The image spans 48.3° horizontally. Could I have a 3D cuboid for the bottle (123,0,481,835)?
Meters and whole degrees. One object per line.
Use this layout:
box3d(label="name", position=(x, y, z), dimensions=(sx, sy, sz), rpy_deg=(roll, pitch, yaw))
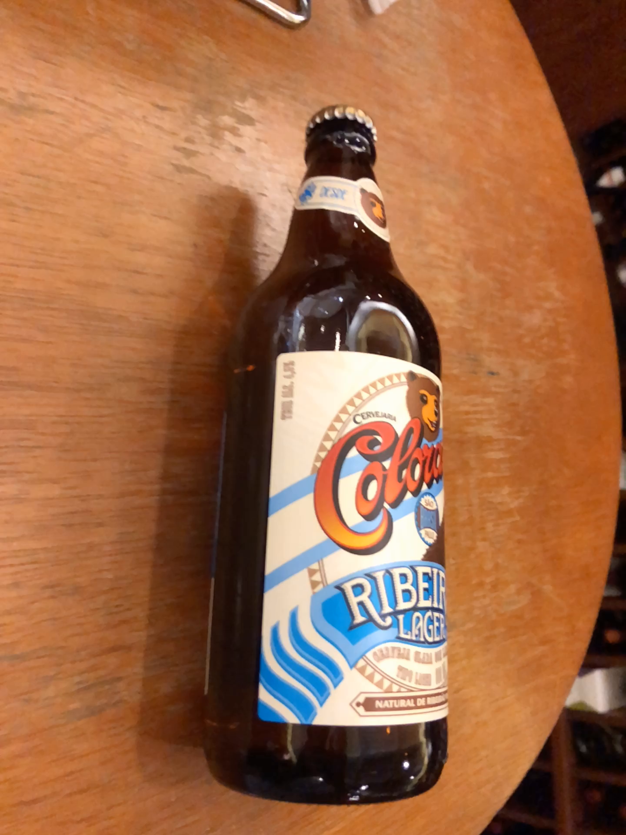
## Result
box3d(label="bottle", position=(0.003, -0.016, 0.244), dimensions=(0.090, 0.060, 0.260), rpy_deg=(15, 70, -40))
